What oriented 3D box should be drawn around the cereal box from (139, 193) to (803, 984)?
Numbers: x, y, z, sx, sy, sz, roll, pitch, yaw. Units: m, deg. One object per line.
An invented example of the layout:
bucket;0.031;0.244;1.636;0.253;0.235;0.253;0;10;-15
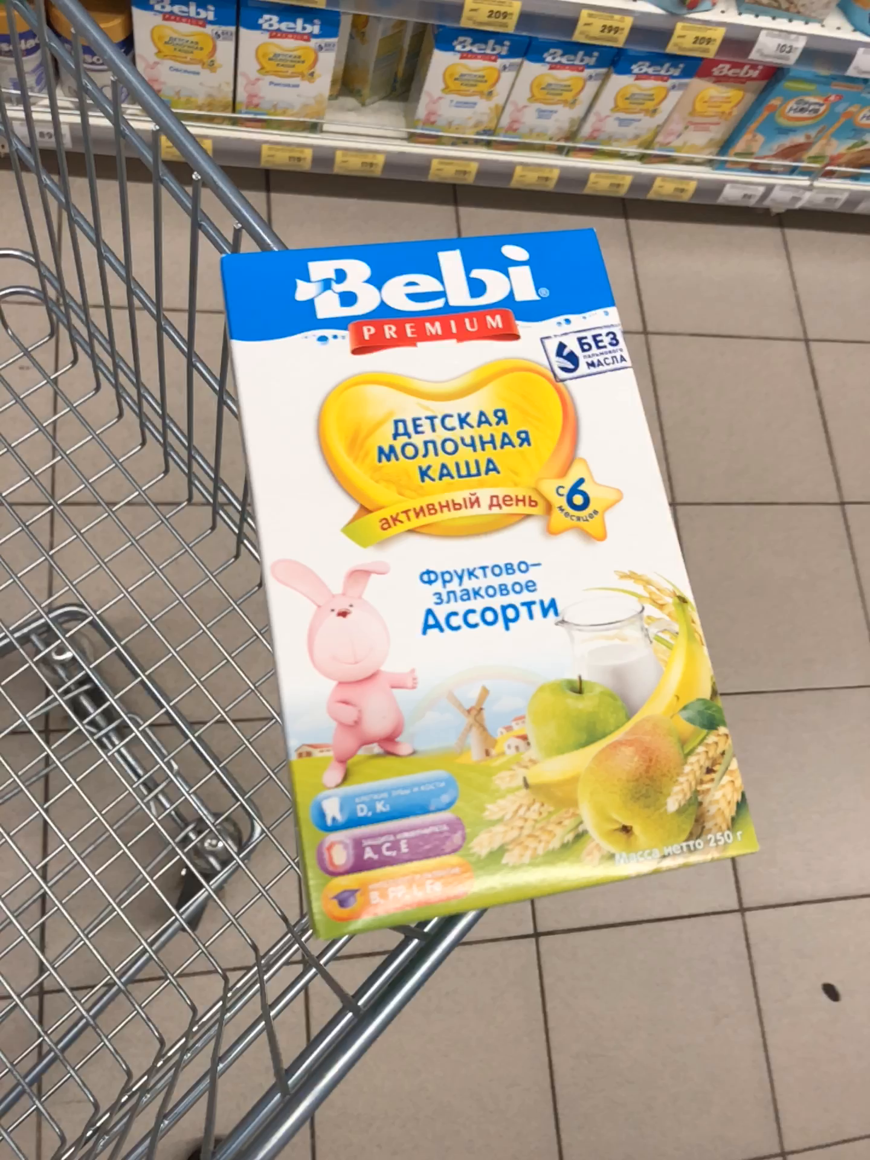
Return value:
cereal box;0.001;-0.007;0.290;0.150;0.050;0.210;-8;74;-9
